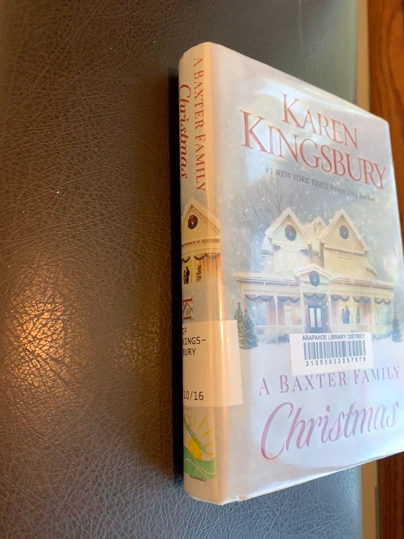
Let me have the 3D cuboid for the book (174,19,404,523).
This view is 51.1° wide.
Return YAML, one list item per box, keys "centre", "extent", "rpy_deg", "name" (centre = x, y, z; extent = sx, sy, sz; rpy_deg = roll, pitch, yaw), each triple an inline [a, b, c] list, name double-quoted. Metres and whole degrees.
- centre: [0.052, -0.001, 0.196]
  extent: [0.135, 0.023, 0.180]
  rpy_deg: [5, 80, -34]
  name: "book"
